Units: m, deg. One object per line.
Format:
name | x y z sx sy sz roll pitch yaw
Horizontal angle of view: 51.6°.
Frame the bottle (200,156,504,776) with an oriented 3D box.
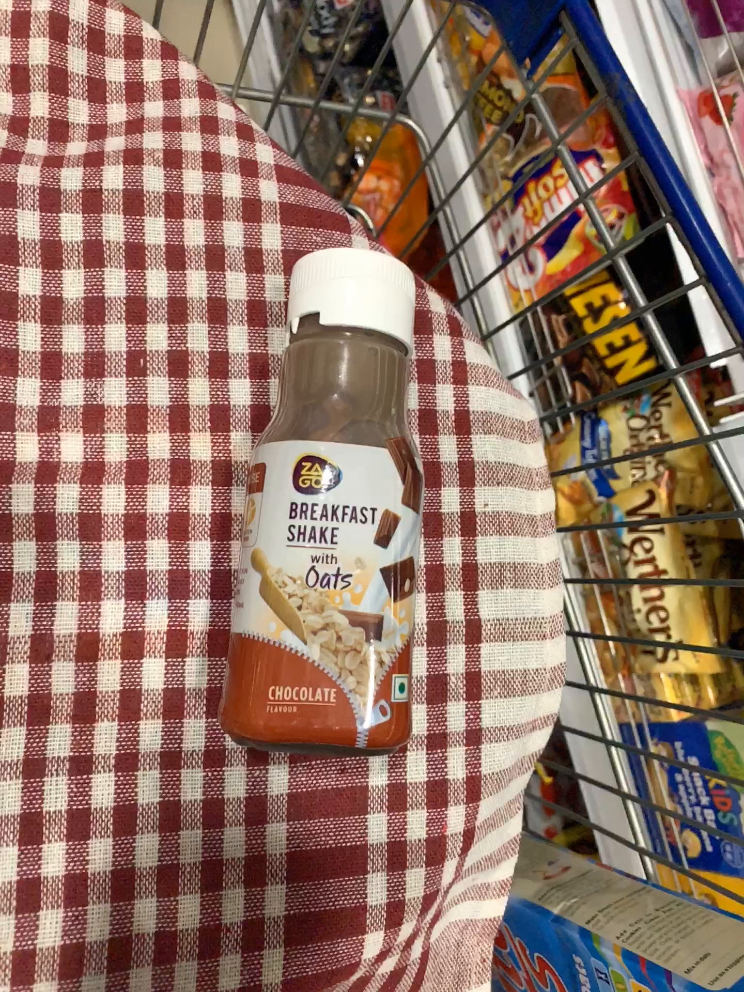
bottle | -0.007 -0.007 0.217 0.060 0.050 0.150 8 83 -10
